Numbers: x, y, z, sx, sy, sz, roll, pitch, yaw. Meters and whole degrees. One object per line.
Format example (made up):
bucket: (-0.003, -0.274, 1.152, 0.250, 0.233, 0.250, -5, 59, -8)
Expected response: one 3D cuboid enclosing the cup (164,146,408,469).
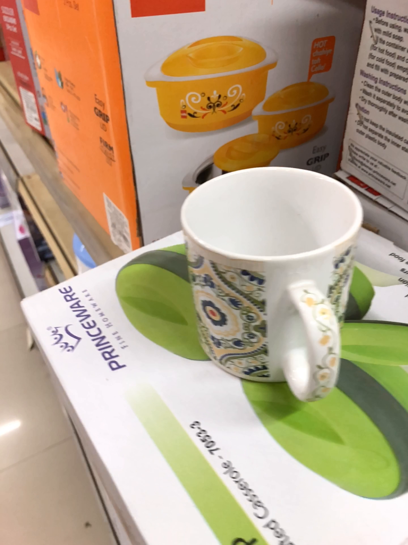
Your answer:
cup: (0.033, 0.006, 0.205, 0.070, 0.079, 0.111, -13, 38, -12)
